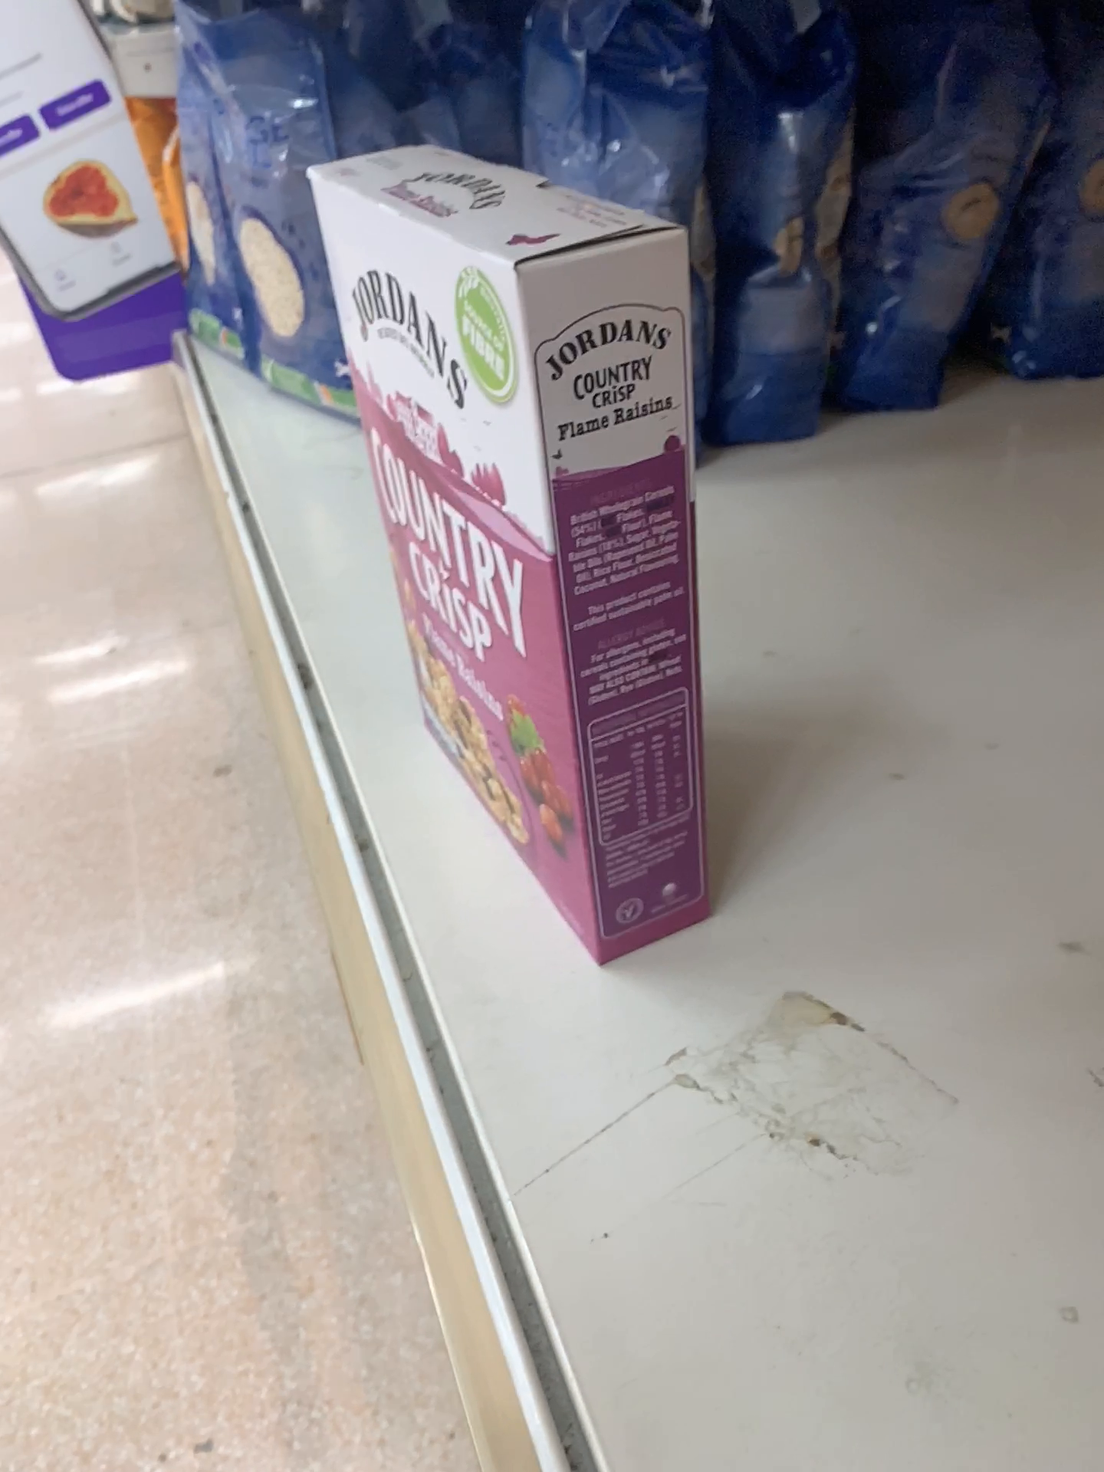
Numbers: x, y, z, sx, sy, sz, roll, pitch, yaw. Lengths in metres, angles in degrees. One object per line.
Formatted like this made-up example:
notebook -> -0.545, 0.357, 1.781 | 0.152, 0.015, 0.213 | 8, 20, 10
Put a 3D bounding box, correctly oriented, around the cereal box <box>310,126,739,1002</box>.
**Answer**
cereal box -> -0.010, -0.066, 0.422 | 0.050, 0.257, 0.202 | -20, 38, -18
